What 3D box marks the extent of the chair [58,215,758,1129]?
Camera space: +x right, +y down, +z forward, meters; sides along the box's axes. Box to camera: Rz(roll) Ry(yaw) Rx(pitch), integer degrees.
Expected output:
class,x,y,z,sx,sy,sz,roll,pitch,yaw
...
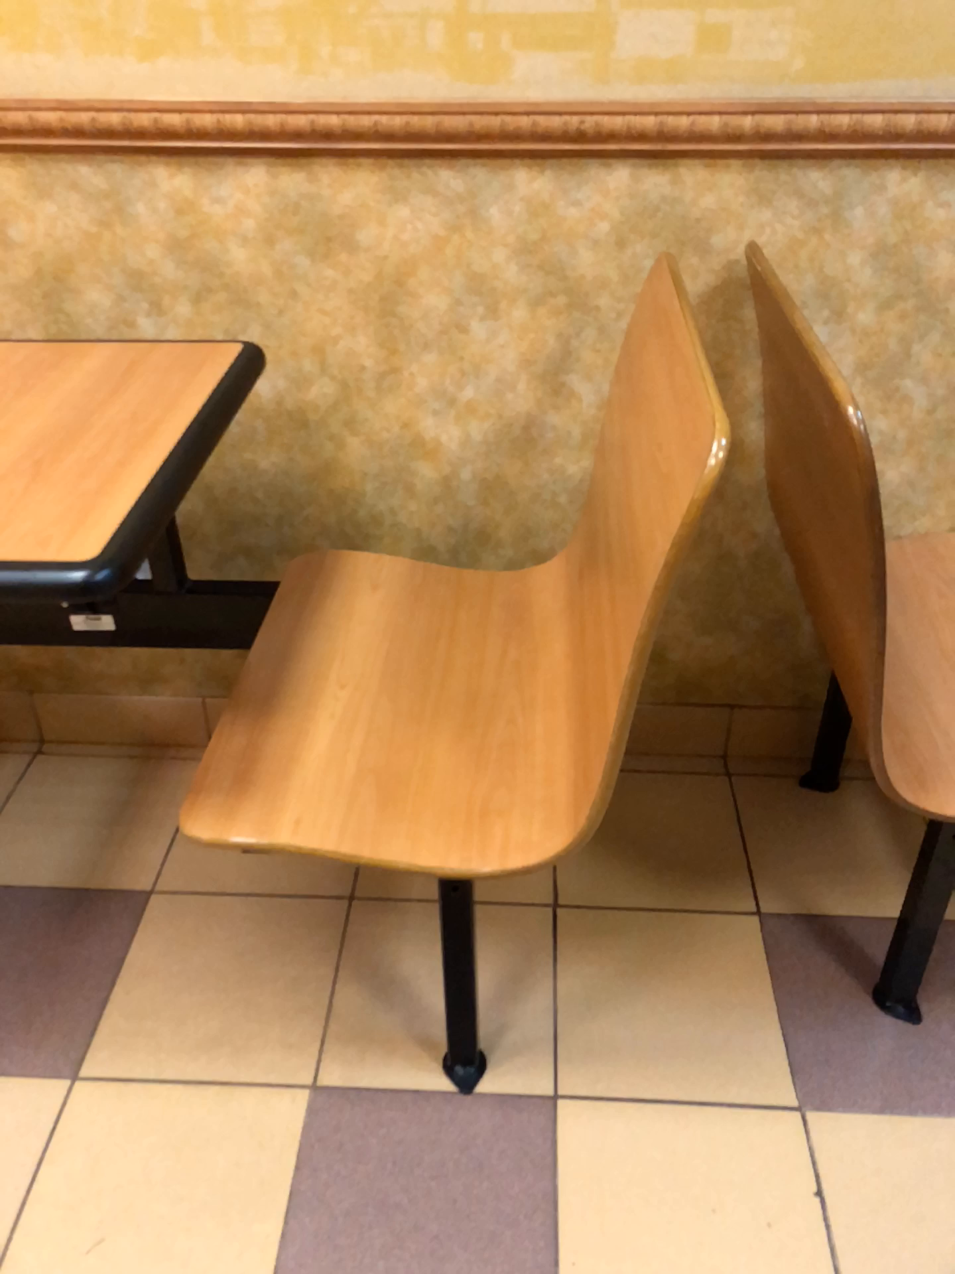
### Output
class,x,y,z,sx,sy,sz,roll,pitch,yaw
chair,-0.032,0.028,1.253,0.510,0.884,0.634,2,34,3
